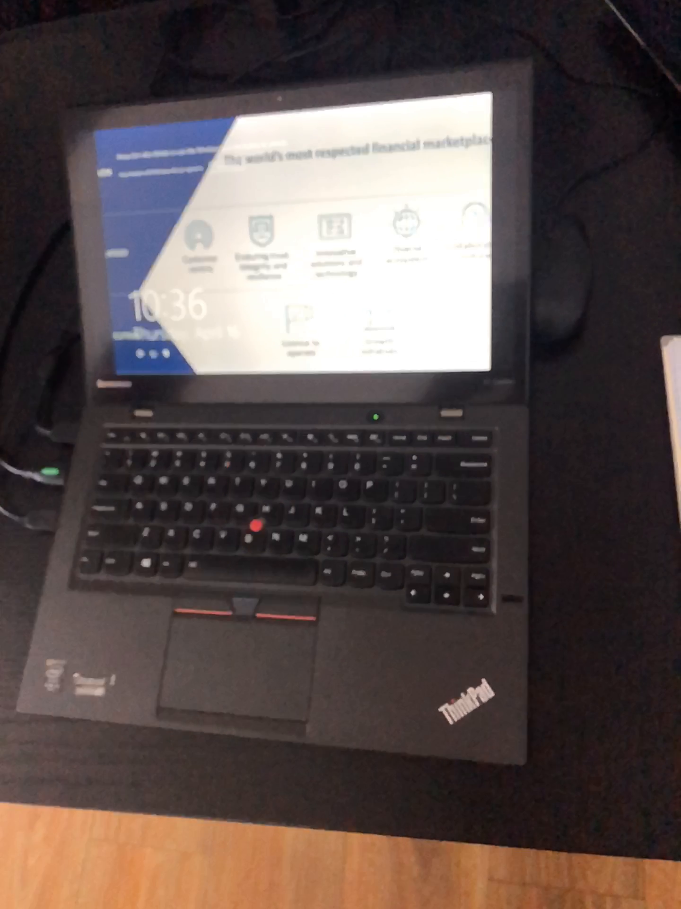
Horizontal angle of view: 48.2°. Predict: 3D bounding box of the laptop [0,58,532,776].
[{"bbox_3d":[-0.049,-0.033,0.471,0.322,0.117,0.388,1,70,13],"label":"laptop"}]
